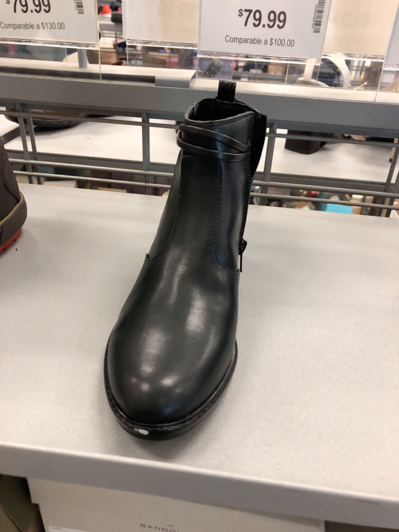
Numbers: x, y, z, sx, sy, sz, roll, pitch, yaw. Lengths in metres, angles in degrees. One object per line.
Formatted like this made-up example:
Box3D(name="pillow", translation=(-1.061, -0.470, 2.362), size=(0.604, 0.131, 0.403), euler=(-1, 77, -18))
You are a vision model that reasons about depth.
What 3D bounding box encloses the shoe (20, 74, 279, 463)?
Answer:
Box3D(name="shoe", translation=(-0.006, -0.026, 0.296), size=(0.090, 0.149, 0.232), euler=(8, 33, 7))
